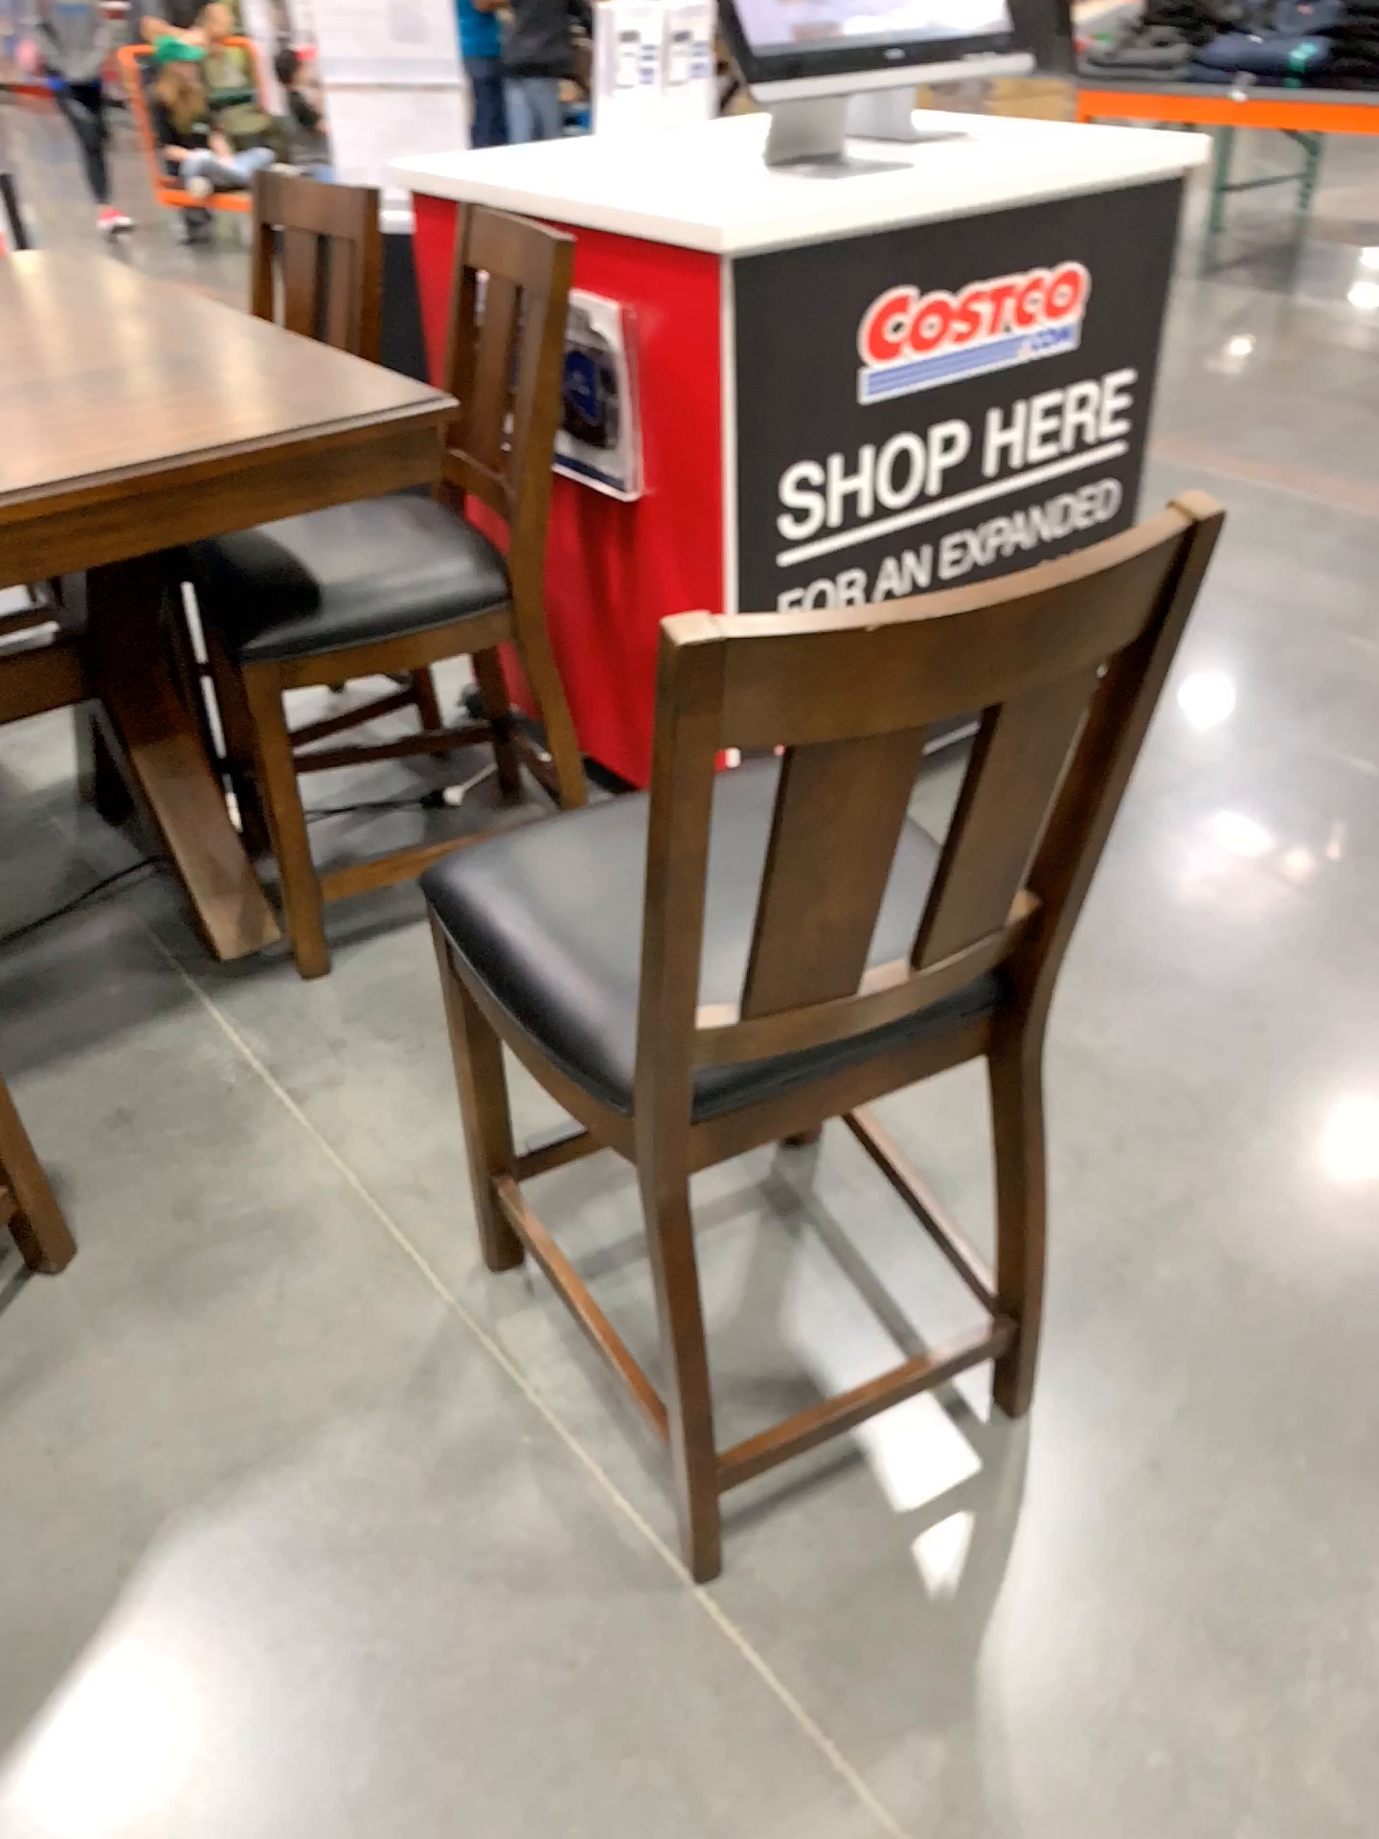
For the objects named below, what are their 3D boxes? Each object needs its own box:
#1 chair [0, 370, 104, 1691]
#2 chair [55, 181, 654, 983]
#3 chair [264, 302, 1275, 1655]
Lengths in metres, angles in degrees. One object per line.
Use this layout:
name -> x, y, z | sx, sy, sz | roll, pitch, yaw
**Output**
chair -> -1.082, 0.103, 1.325 | 0.544, 1.021, 0.590 | 6, 35, 11
chair -> -0.489, -0.545, 2.204 | 0.598, 0.952, 0.657 | -18, 38, -22
chair -> 0.036, 0.043, 1.358 | 0.525, 1.021, 0.590 | -19, 38, -23
